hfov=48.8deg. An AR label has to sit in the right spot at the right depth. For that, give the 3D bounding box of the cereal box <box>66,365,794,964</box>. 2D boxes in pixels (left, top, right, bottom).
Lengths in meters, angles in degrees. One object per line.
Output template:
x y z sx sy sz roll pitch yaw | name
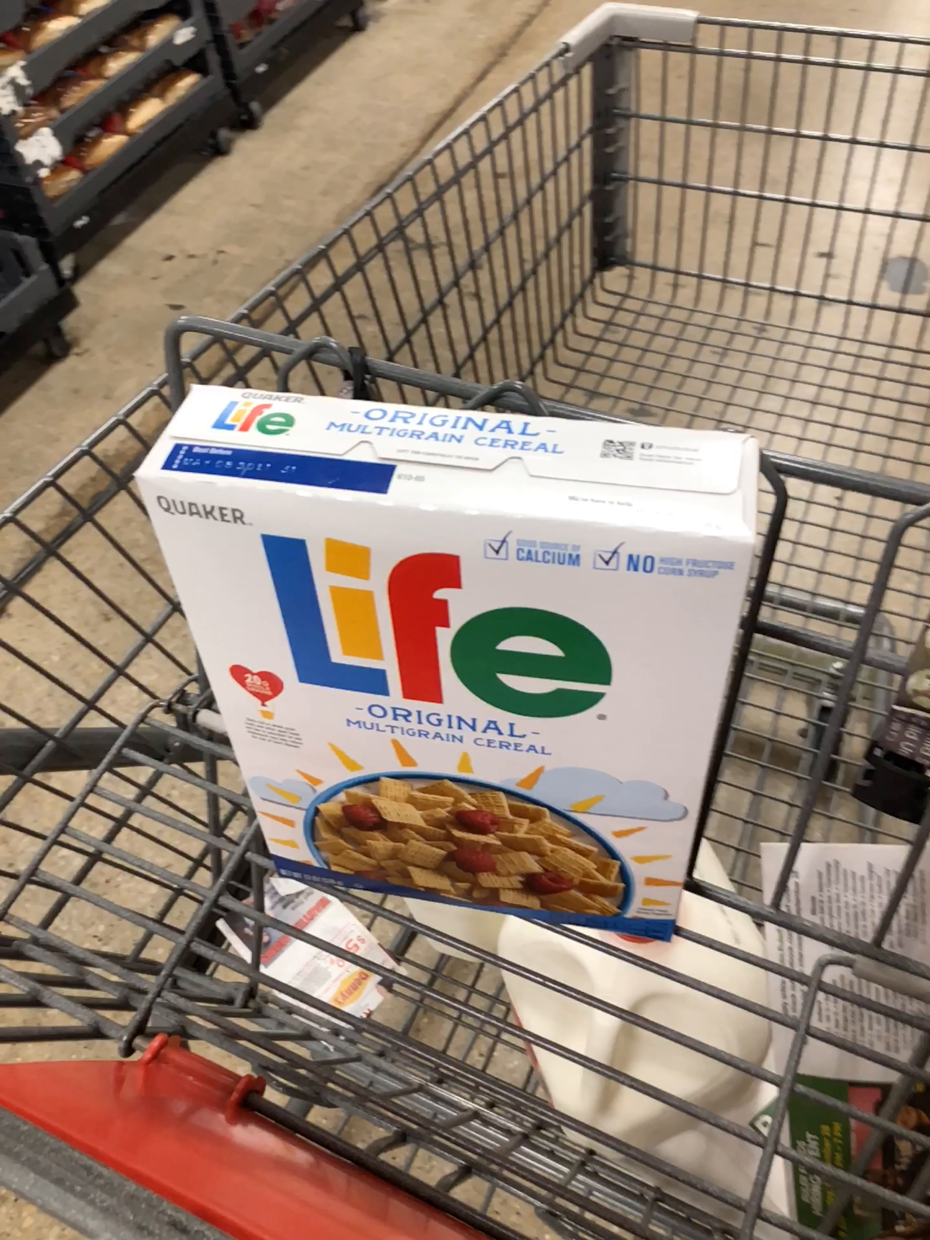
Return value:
-0.004 0.031 0.377 0.200 0.240 0.050 8 48 11 | cereal box
